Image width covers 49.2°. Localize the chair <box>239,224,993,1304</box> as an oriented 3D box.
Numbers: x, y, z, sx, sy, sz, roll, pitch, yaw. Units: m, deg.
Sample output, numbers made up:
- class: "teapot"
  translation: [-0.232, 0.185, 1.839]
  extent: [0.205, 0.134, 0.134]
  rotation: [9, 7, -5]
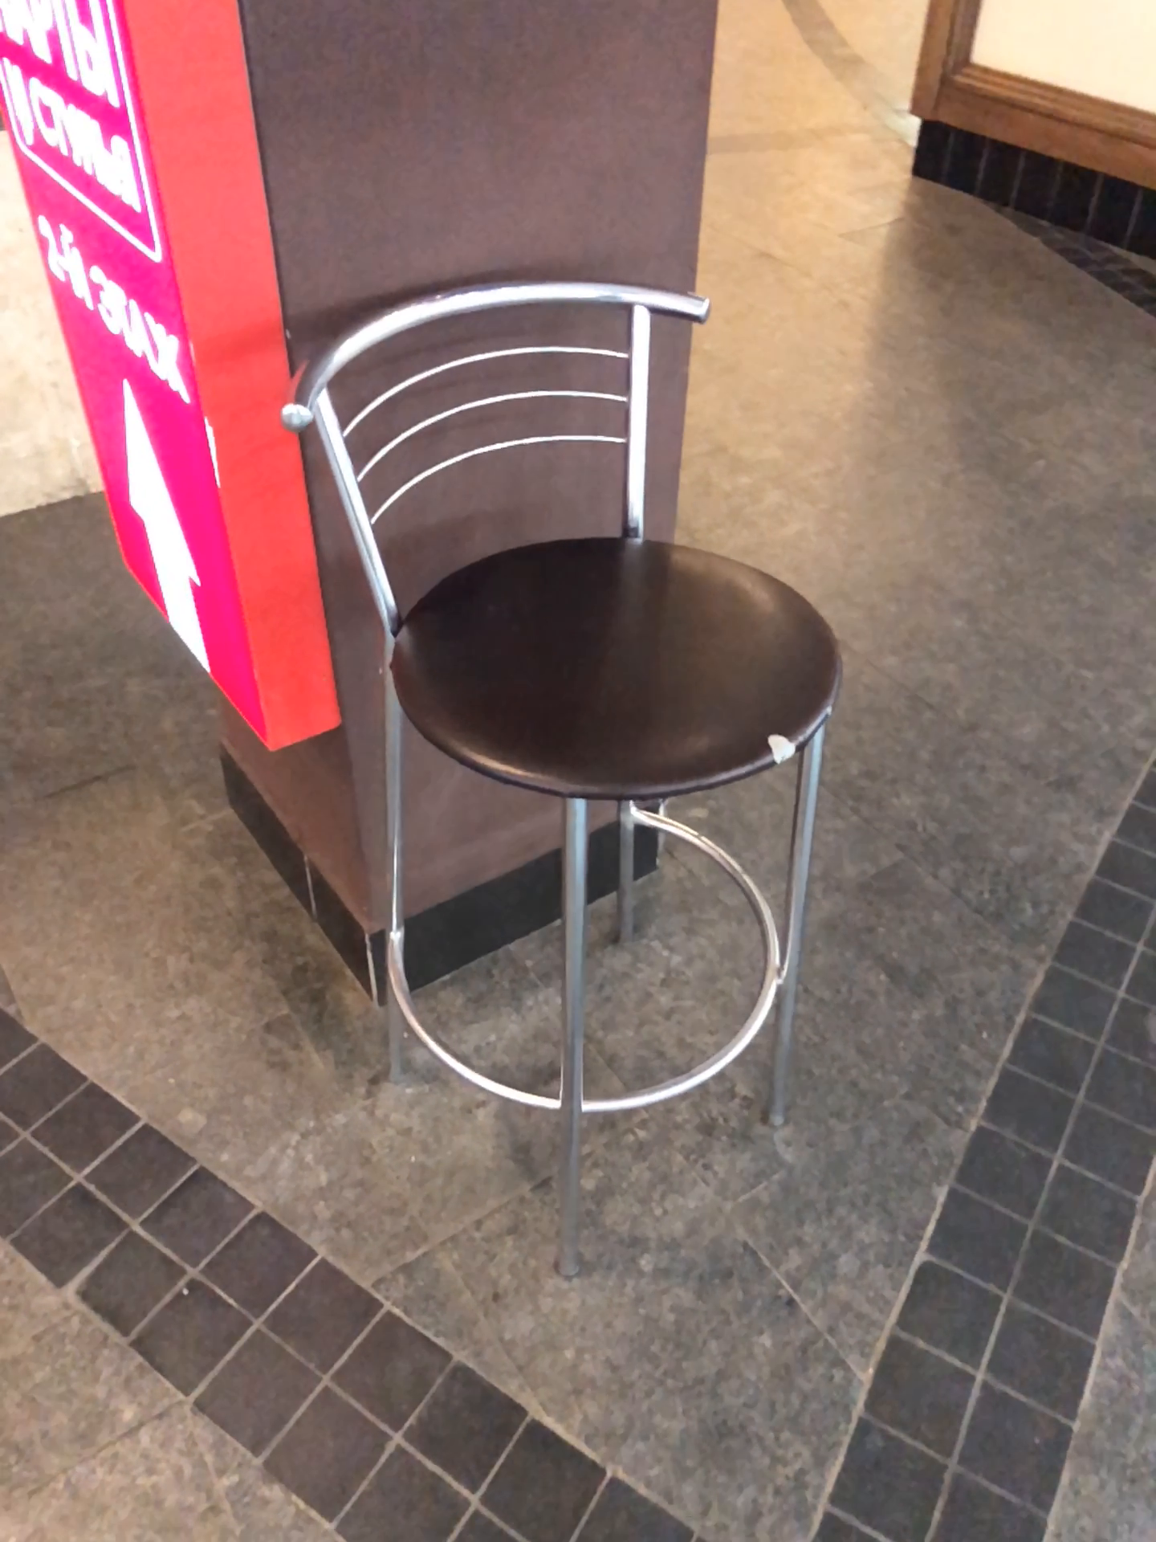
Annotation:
- class: "chair"
  translation: [0.014, 0.029, 1.272]
  extent: [0.411, 0.936, 0.411]
  rotation: [-27, 48, -29]
